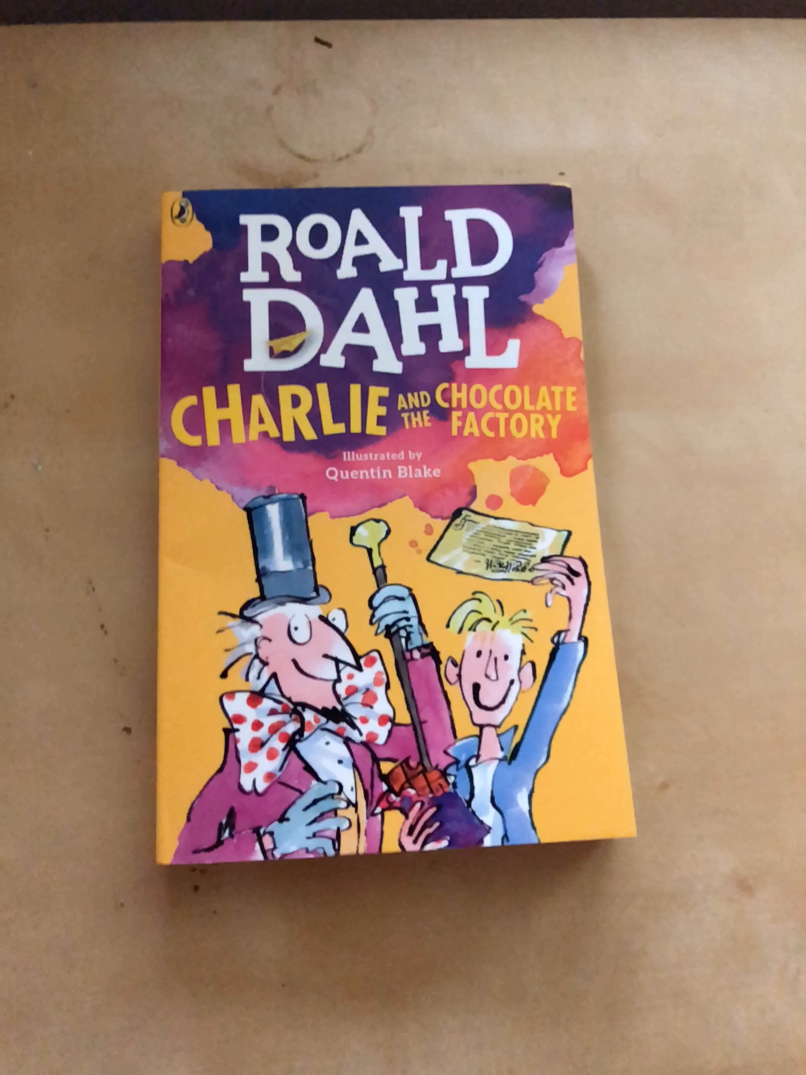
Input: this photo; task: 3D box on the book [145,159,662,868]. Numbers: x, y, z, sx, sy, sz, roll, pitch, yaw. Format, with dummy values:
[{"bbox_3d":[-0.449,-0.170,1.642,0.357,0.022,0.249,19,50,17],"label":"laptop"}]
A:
[{"bbox_3d":[-0.005,-0.013,0.272,0.134,0.040,0.201,-2,78,-4],"label":"book"}]
